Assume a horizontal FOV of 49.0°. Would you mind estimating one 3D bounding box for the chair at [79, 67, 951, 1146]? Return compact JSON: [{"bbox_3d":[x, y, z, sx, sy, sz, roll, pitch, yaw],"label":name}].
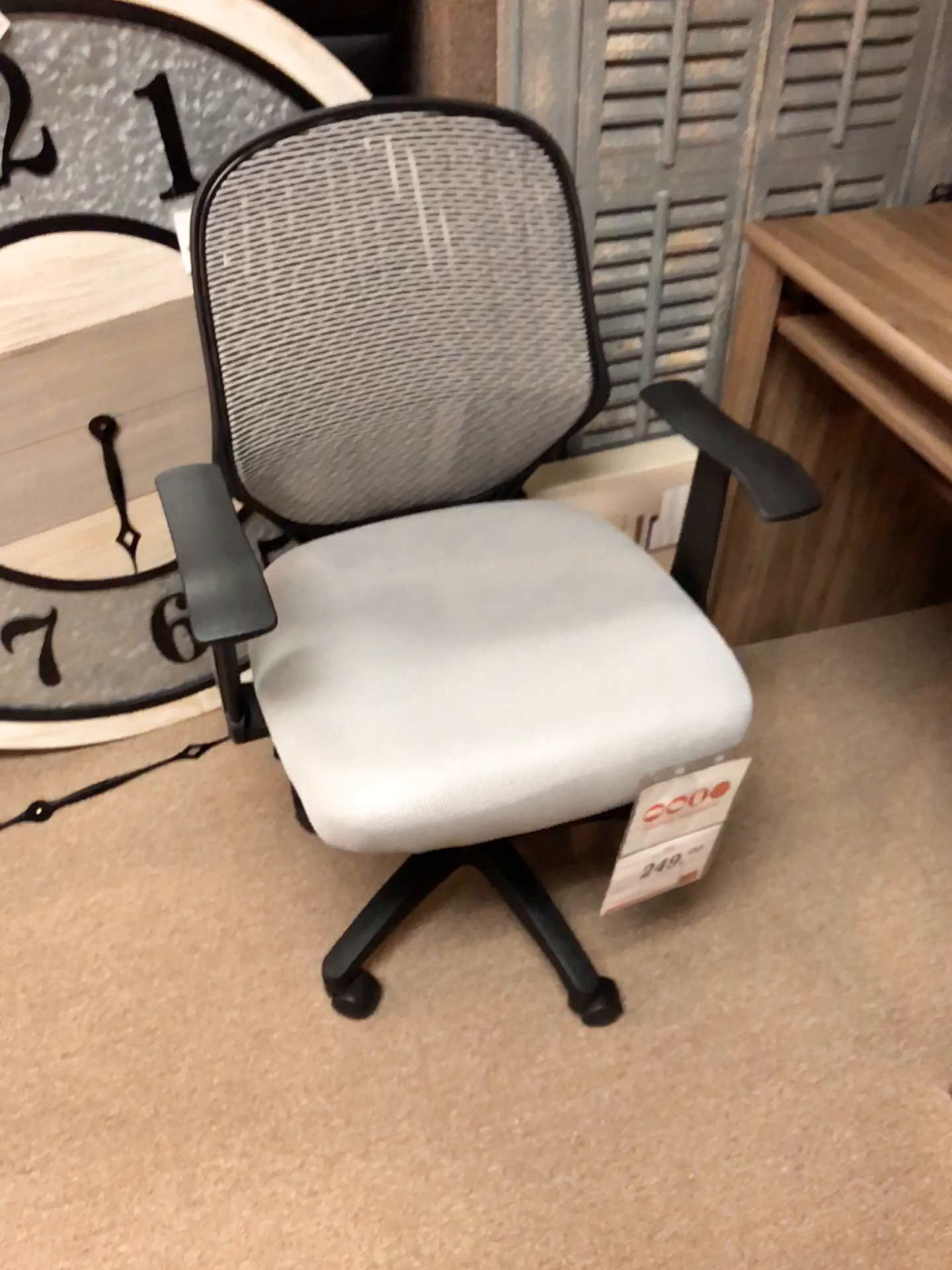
[{"bbox_3d":[0.010,-0.056,1.172,0.610,0.864,0.674,-15,43,-18],"label":"chair"}]
